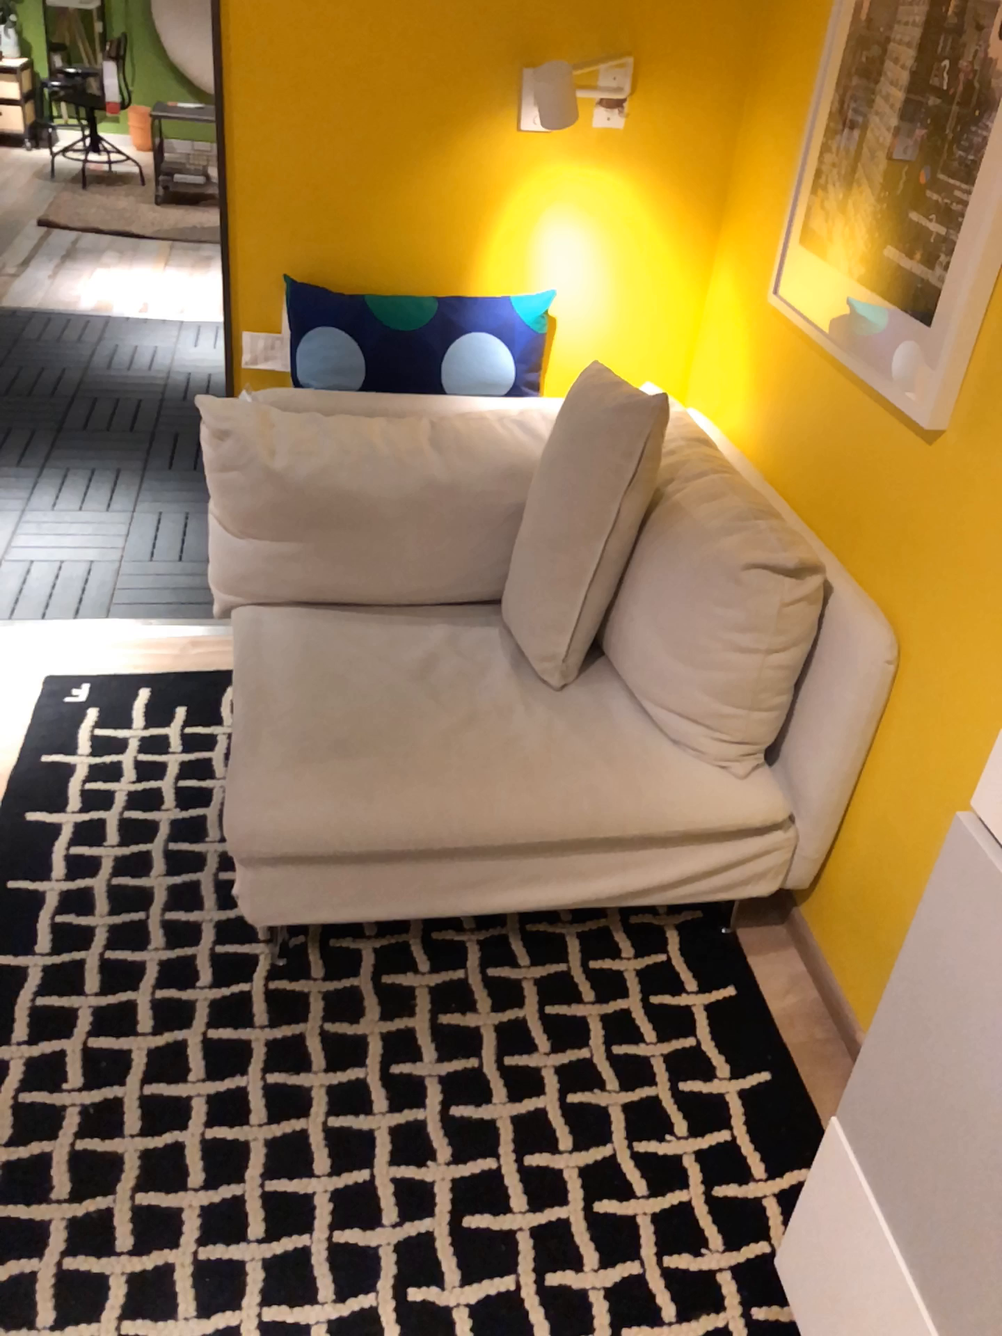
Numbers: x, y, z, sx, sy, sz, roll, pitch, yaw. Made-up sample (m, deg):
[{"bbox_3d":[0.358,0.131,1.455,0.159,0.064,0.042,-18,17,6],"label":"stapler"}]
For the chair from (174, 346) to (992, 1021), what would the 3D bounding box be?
[{"bbox_3d":[0.027,-0.046,2.065,1.110,0.755,1.017,-1,33,-11],"label":"chair"}]
